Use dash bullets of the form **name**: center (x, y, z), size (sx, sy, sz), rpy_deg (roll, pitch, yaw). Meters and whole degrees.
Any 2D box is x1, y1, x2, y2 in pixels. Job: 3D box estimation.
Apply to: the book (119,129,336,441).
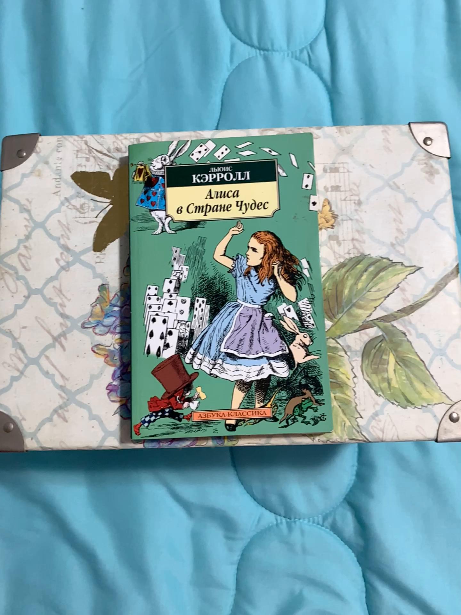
- **book**: center (-0.005, -0.016, 0.286), size (0.118, 0.018, 0.179), rpy_deg (-3, 82, 0)
